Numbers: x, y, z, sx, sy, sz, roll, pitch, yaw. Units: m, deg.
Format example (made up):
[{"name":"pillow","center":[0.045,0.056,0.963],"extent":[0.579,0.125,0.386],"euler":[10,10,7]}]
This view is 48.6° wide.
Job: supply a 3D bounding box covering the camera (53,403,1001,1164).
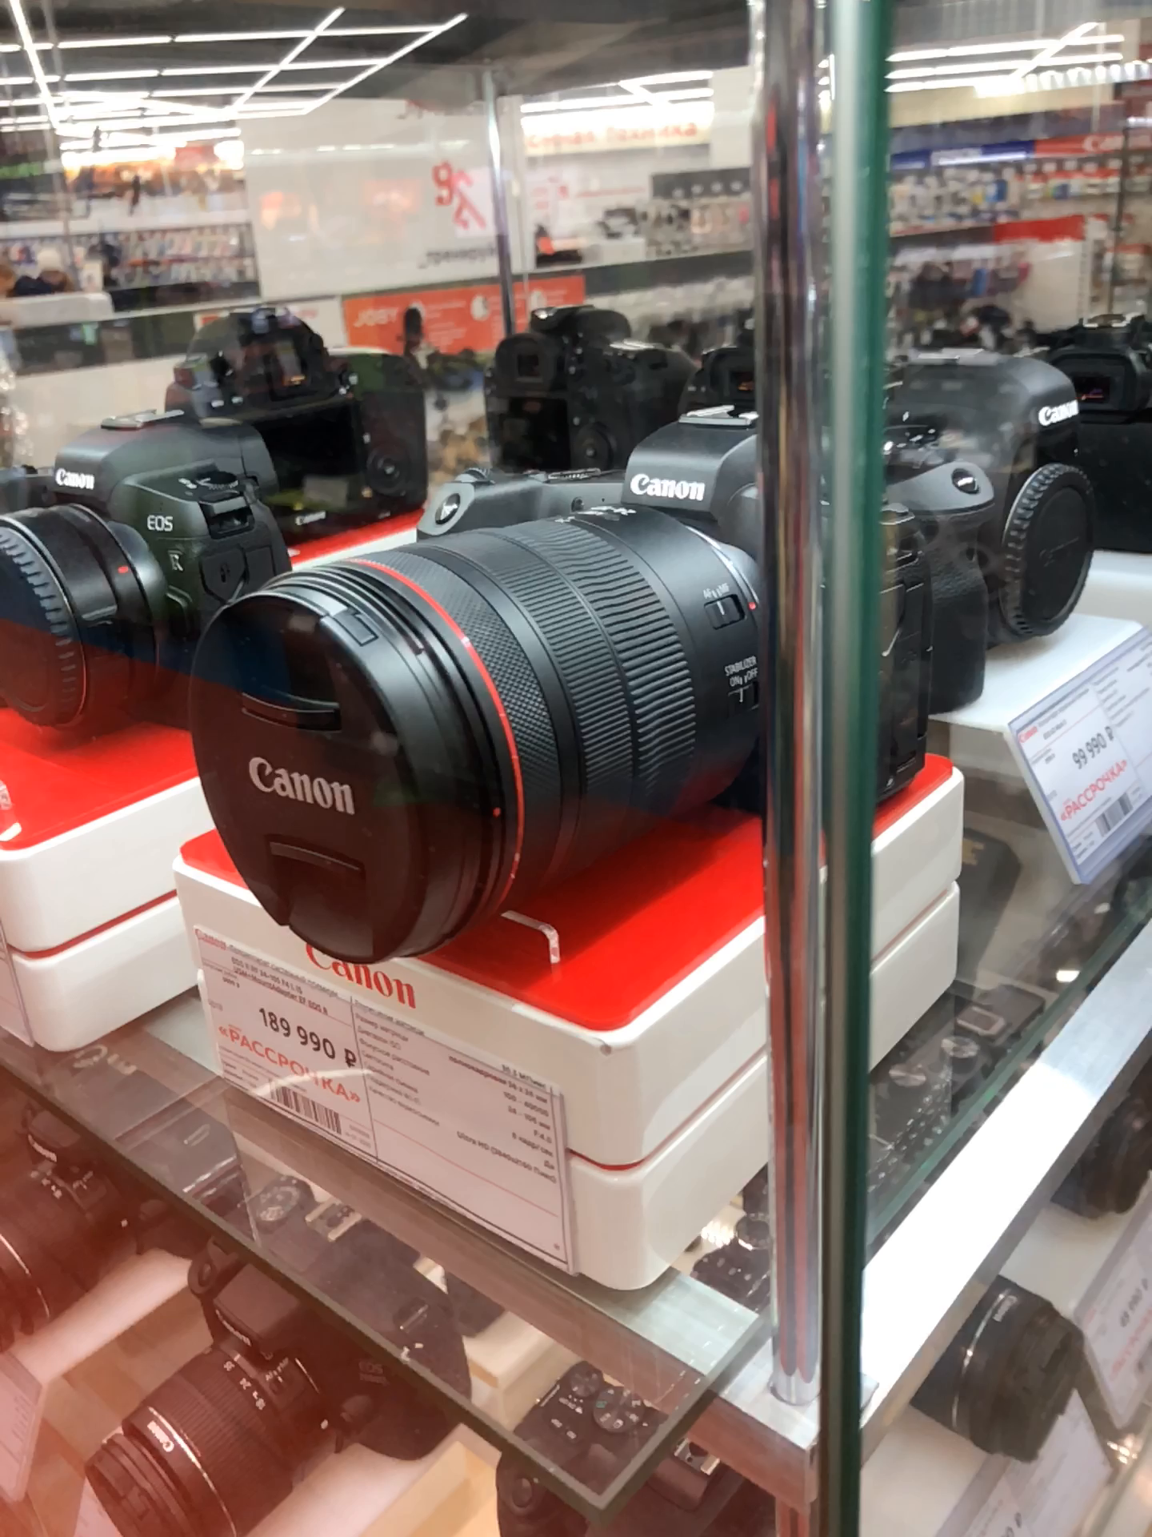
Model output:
[{"name":"camera","center":[-0.001,-0.022,0.327],"extent":[0.140,0.110,0.184],"euler":[16,30,39]}]
